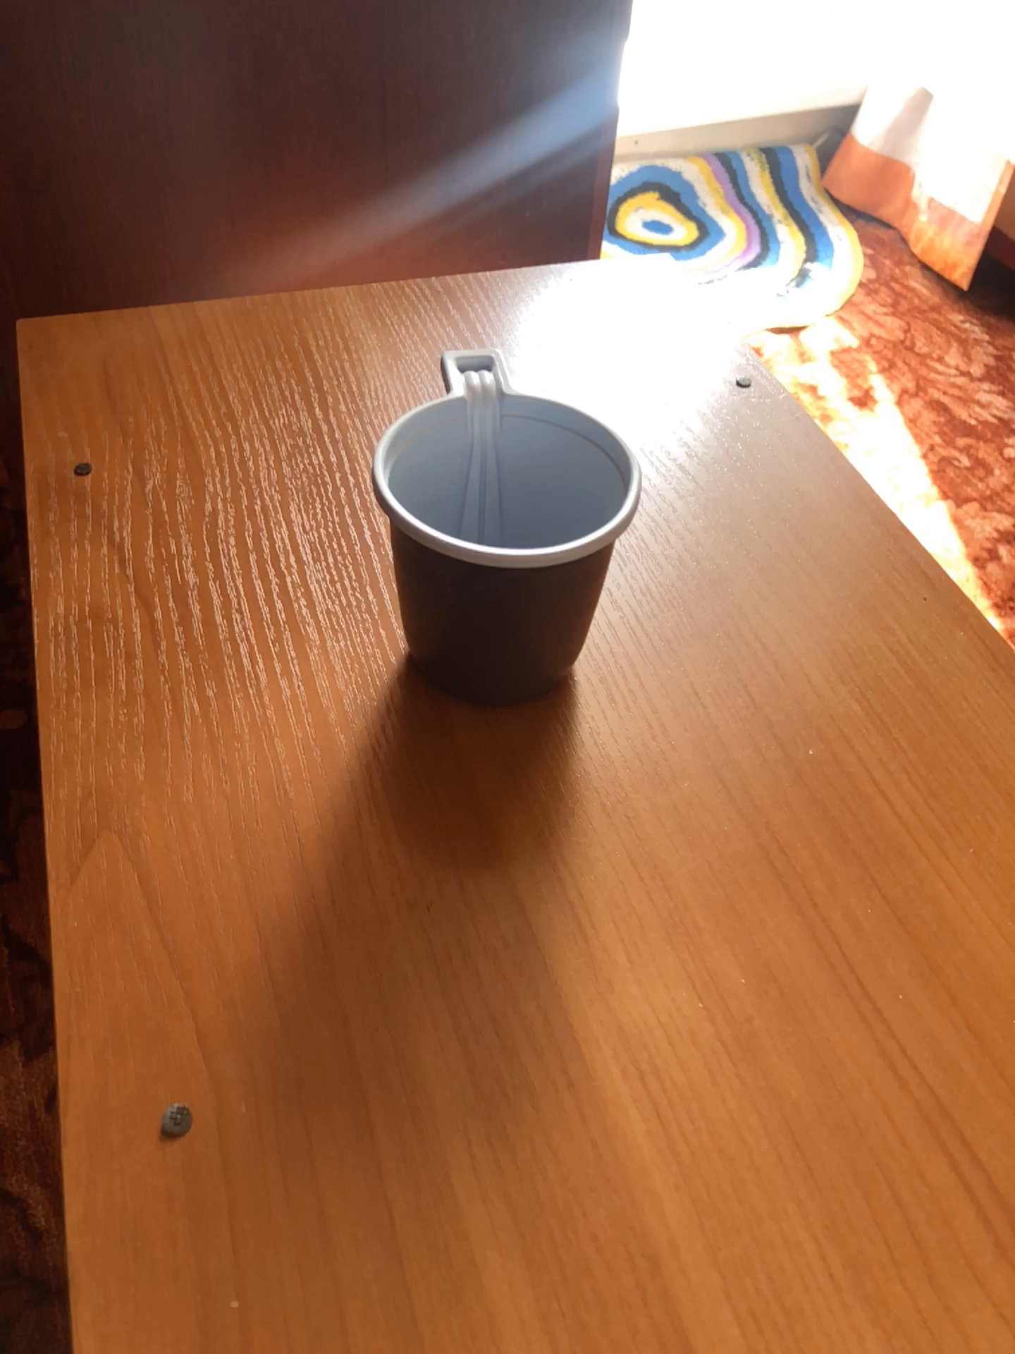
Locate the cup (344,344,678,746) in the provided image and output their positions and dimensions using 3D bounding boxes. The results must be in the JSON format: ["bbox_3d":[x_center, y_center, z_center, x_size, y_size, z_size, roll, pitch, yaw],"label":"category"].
[{"bbox_3d":[-0.005,-0.042,0.329,0.070,0.060,0.100,-8,48,-11],"label":"cup"}]
